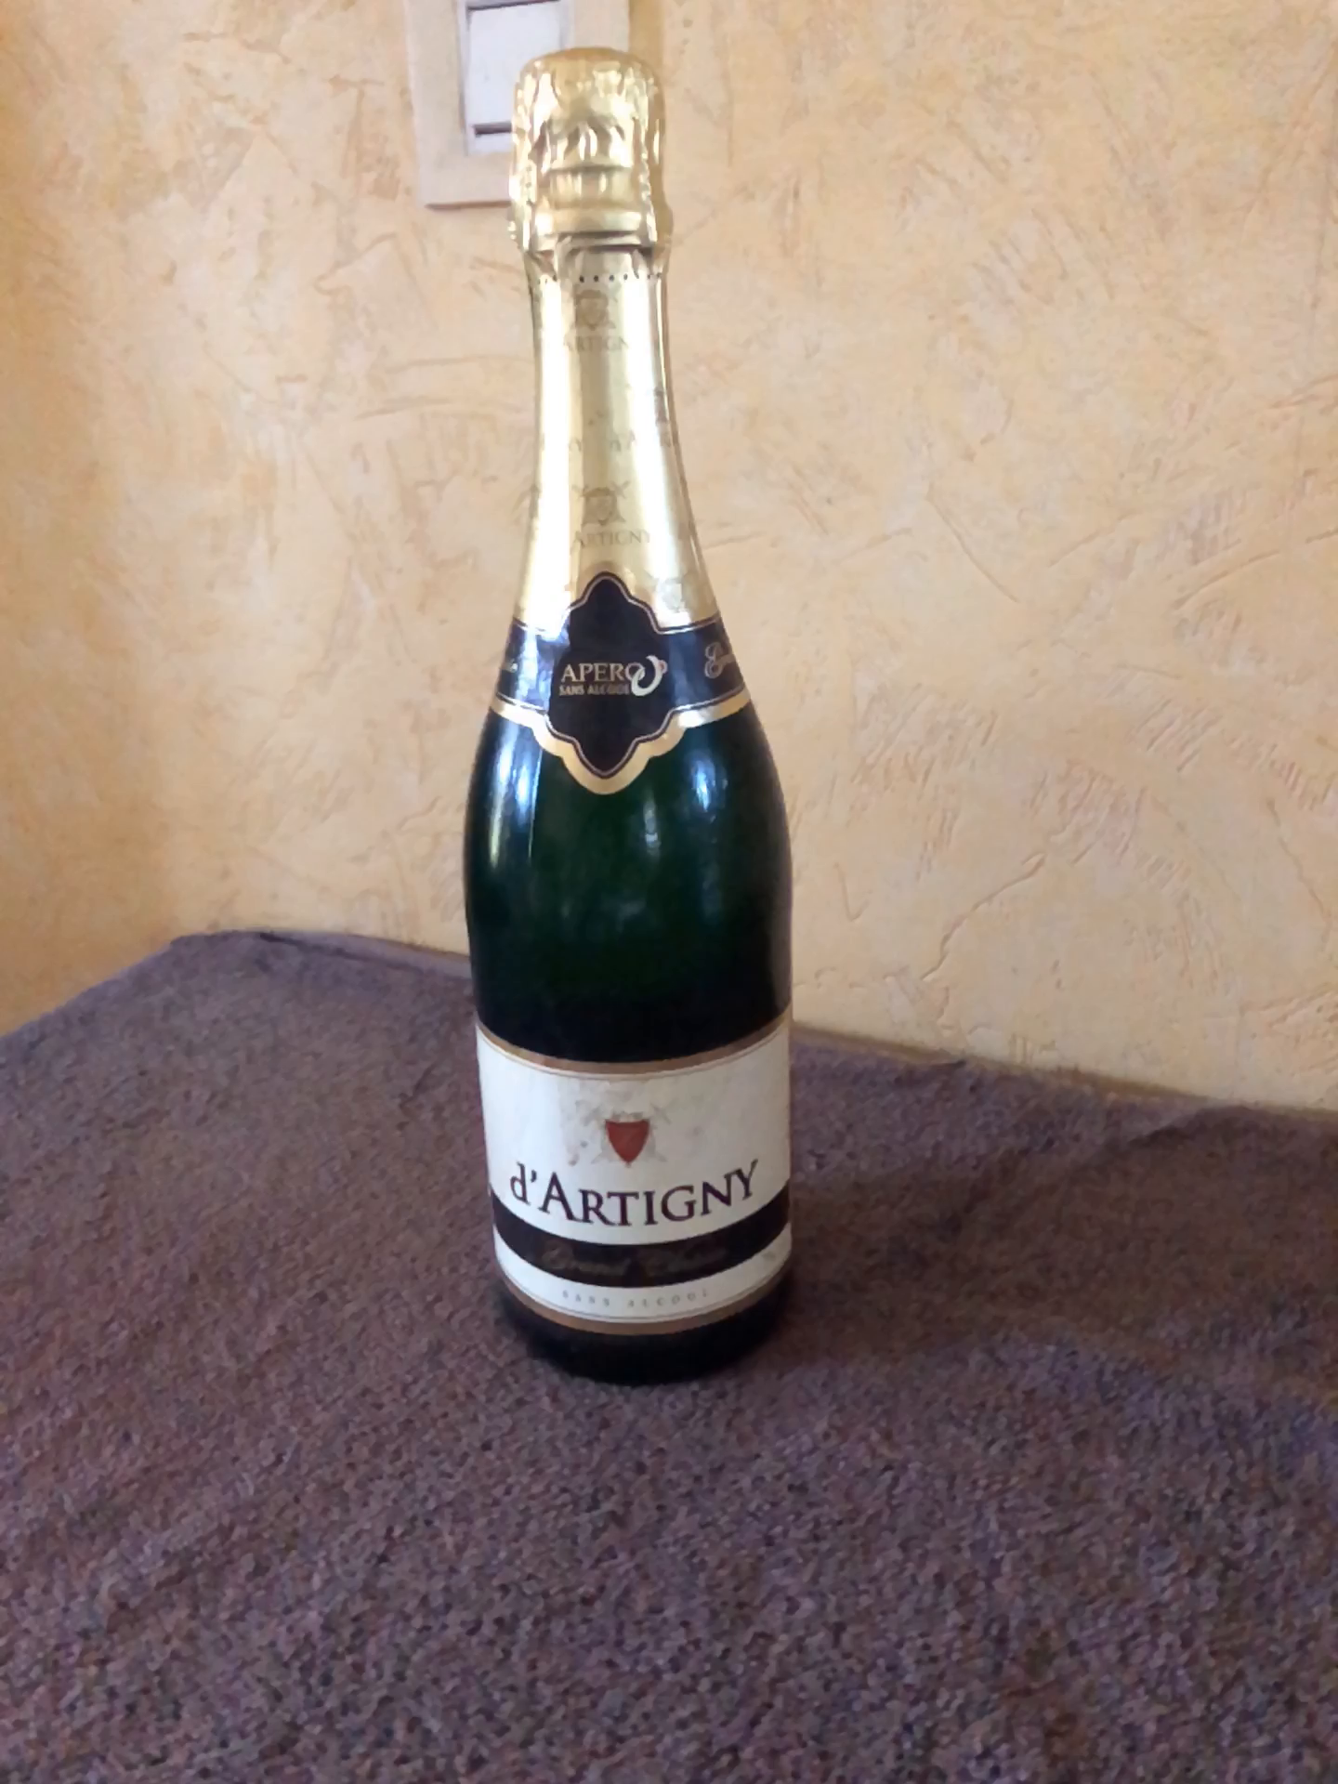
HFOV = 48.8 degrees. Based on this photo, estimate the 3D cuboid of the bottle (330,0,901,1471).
[{"bbox_3d":[0.001,-0.026,0.358,0.100,0.318,0.101,-2,20,1],"label":"bottle"}]
